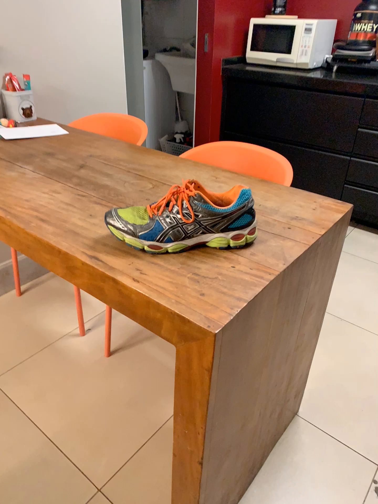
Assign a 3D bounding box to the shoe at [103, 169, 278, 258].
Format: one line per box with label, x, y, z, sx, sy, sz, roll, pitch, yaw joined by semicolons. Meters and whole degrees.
shoe;-0.004;-0.079;0.737;0.301;0.109;0.126;-4;32;-8
